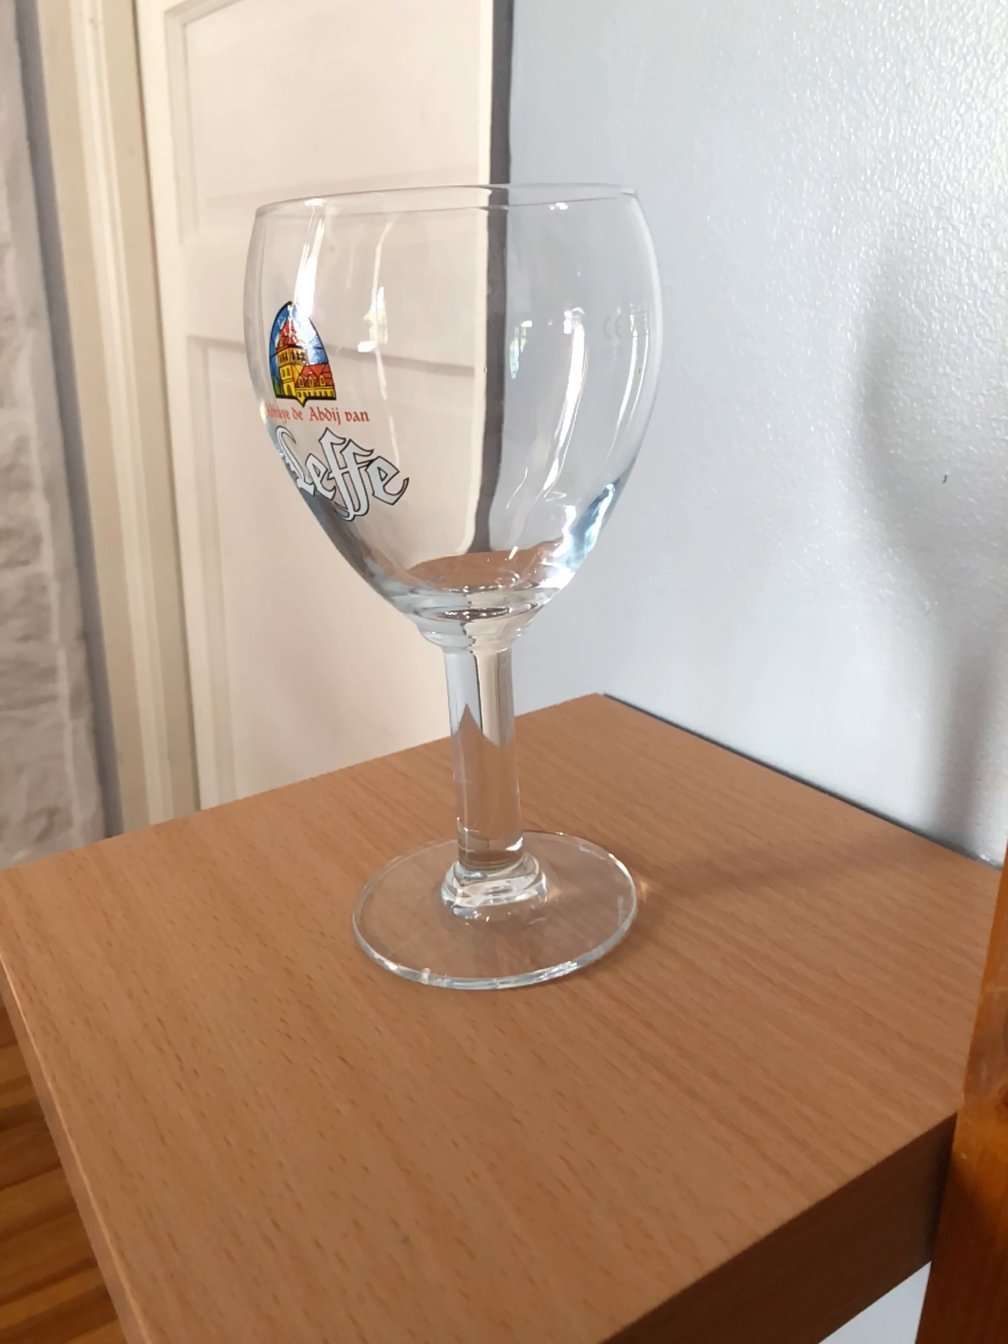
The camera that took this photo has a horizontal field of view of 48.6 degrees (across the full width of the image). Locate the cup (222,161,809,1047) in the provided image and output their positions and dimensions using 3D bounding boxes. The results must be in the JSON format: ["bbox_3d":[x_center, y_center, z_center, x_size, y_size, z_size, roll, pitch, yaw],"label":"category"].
[{"bbox_3d":[0.001,-0.025,0.291,0.100,0.185,0.095,1,18,0],"label":"cup"}]
